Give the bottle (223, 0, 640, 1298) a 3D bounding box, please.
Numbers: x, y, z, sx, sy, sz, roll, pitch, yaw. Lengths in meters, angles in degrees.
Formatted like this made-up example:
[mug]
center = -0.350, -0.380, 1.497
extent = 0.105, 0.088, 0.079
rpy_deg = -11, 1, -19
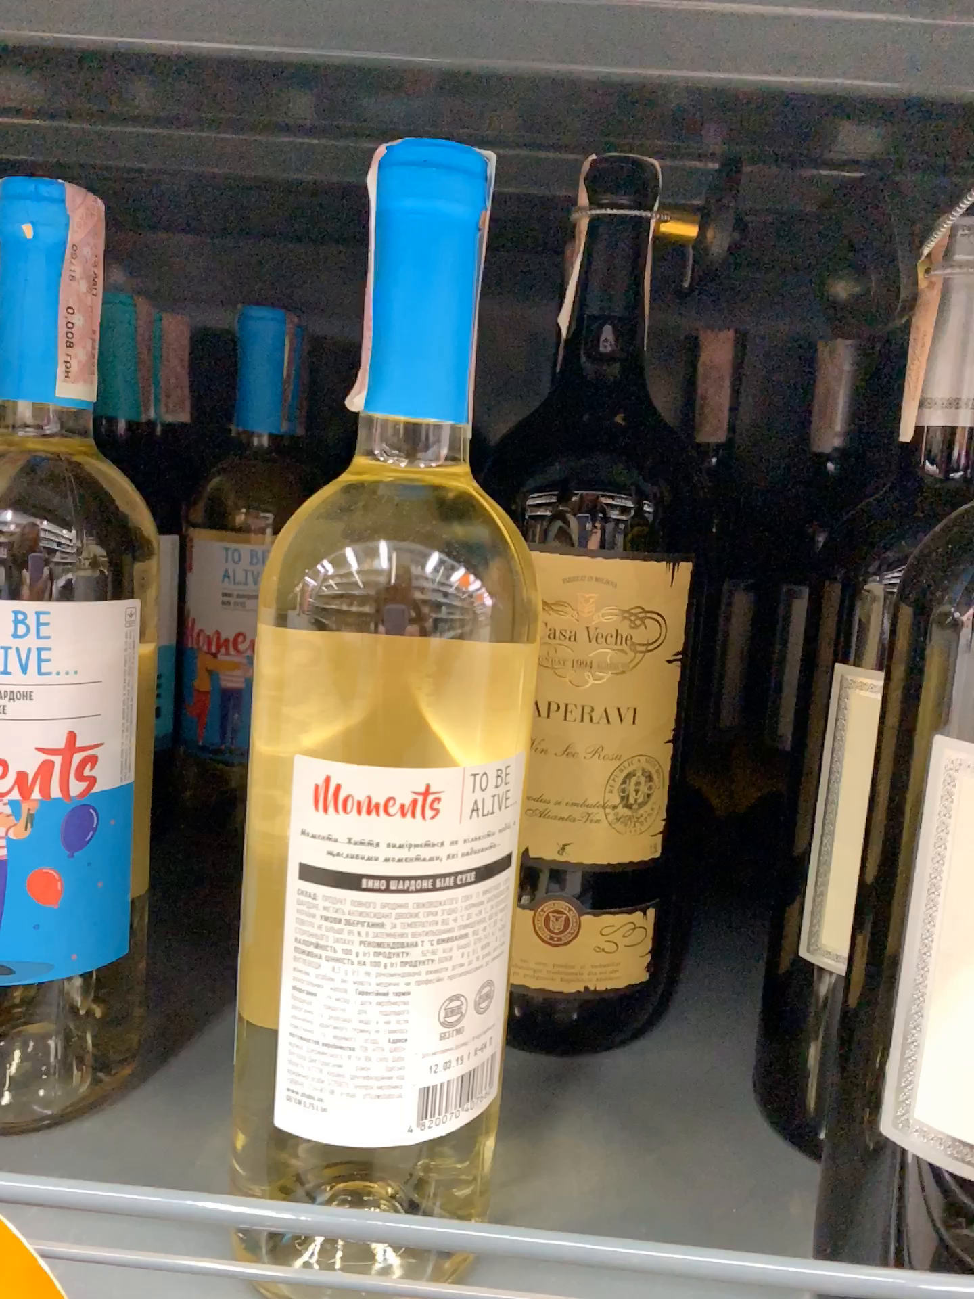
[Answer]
[bottle]
center = -0.026, 0.017, 0.278
extent = 0.080, 0.314, 0.081
rpy_deg = 4, 10, -1
